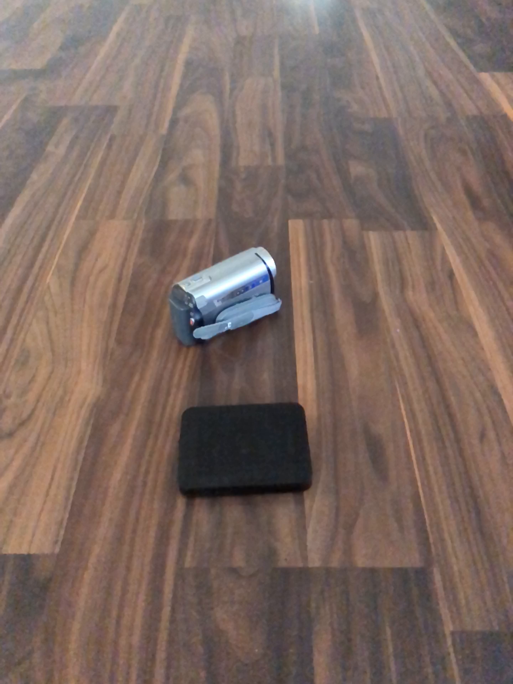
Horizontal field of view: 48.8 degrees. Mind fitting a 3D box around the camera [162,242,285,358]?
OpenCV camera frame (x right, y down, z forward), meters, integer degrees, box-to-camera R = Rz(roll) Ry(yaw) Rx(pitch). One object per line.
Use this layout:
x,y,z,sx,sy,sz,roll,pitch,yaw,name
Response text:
-0.031,-0.045,0.585,0.115,0.065,0.048,-28,50,-24,camera
